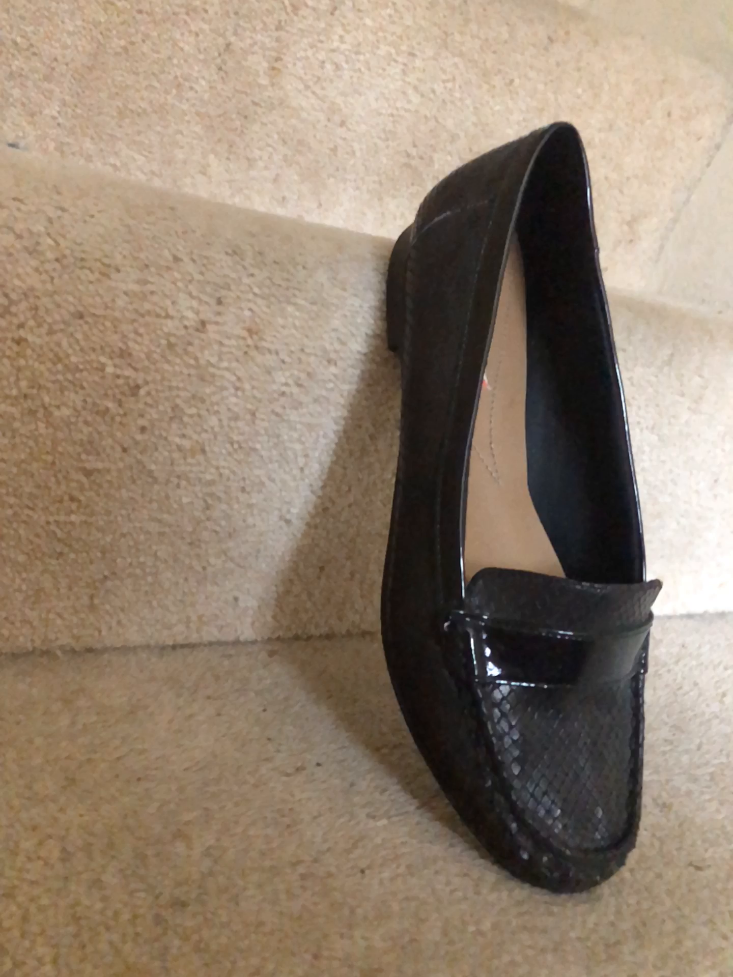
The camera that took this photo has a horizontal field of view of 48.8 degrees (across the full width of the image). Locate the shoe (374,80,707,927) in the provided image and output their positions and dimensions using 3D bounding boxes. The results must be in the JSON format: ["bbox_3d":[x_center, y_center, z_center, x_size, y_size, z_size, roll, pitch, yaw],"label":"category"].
[{"bbox_3d":[0.061,0.002,0.301,0.090,0.261,0.070,5,-10,-36],"label":"shoe"}]
